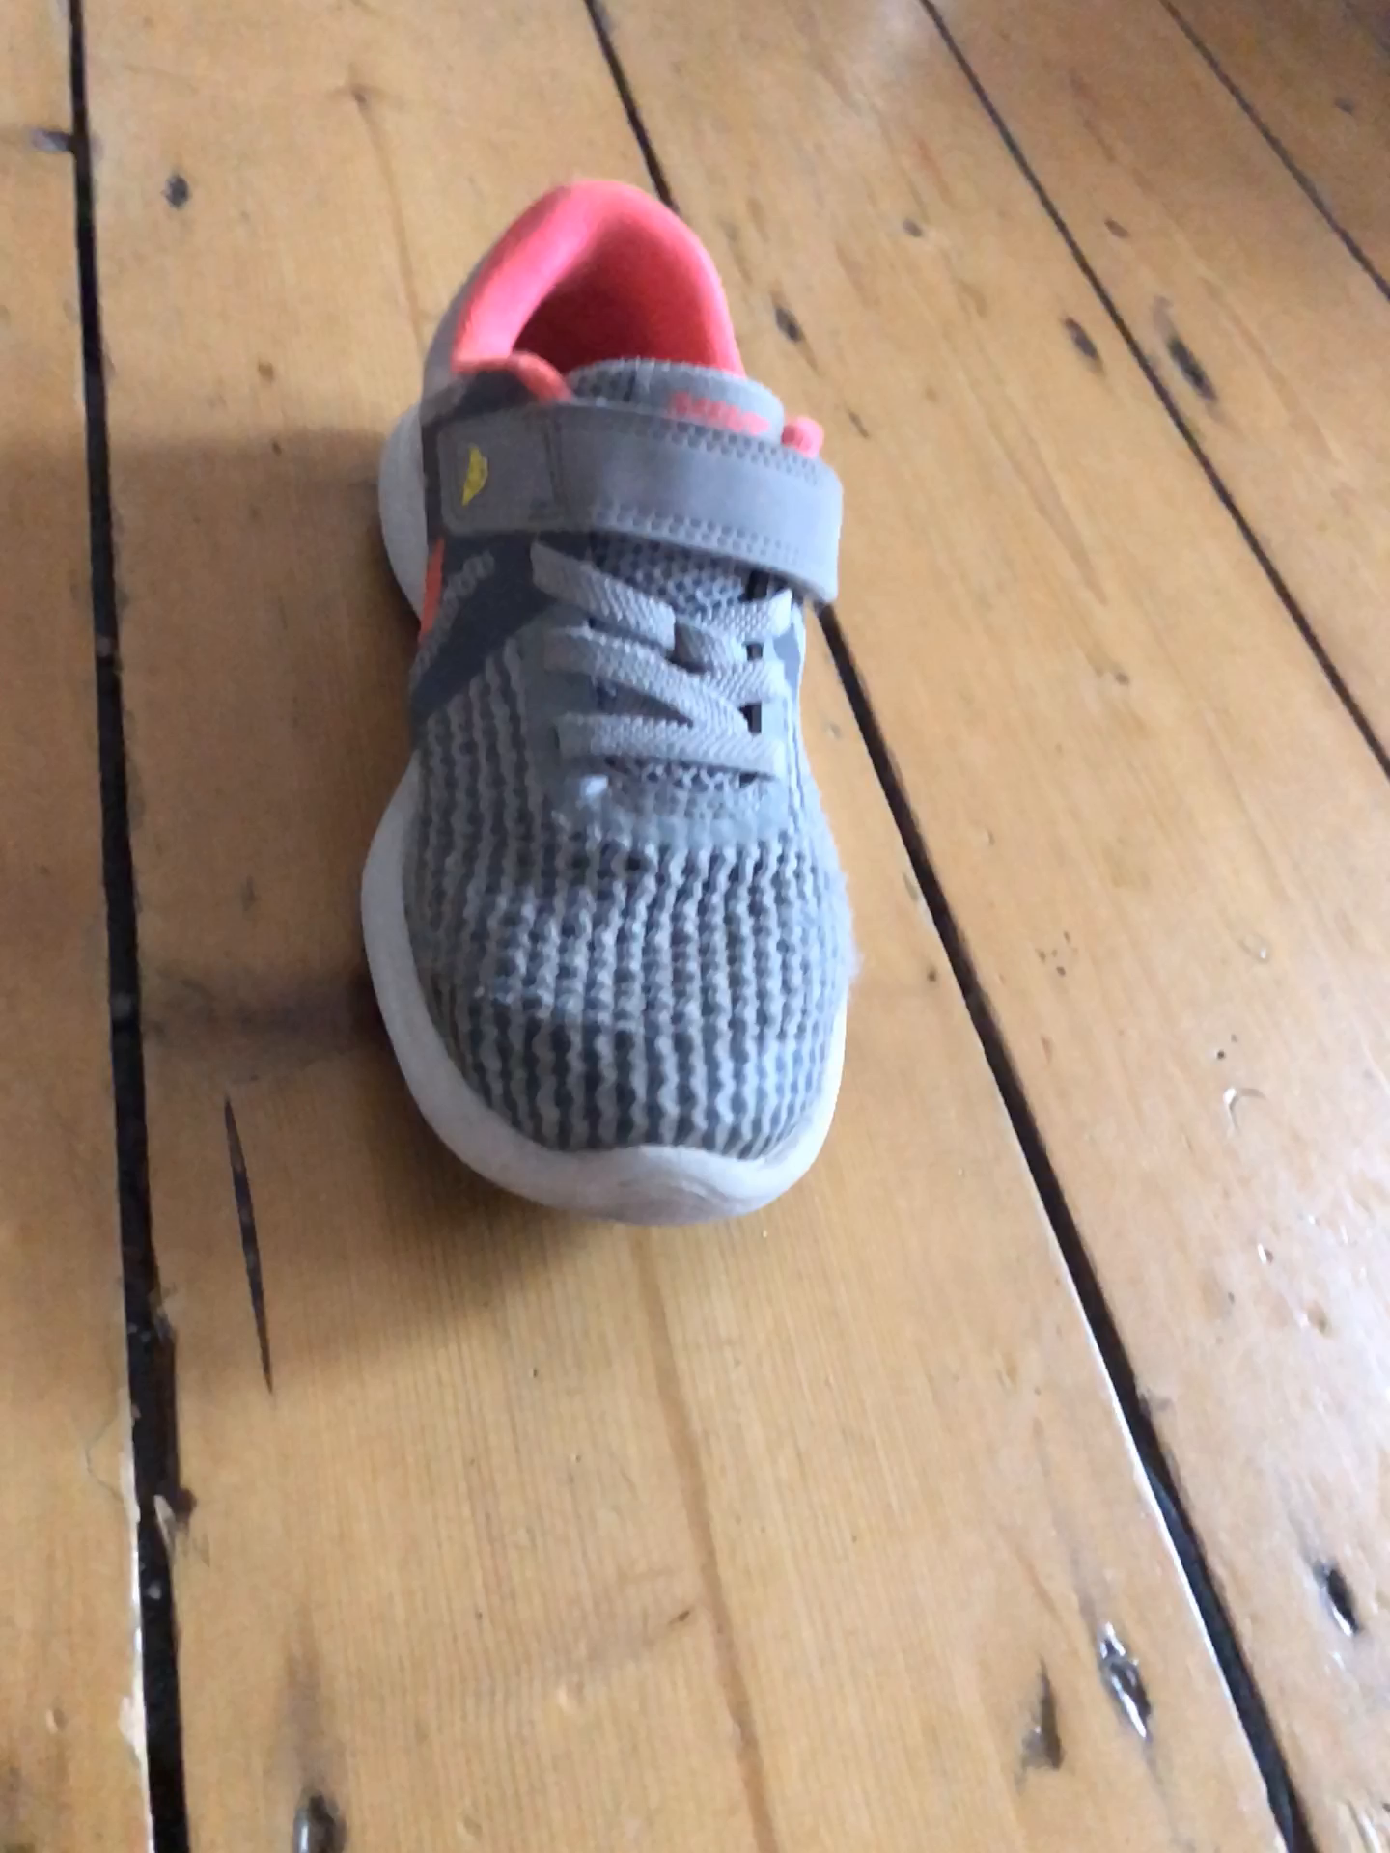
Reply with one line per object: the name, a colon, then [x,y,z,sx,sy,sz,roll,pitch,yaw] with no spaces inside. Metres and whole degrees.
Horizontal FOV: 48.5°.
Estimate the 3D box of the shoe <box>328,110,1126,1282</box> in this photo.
shoe: [-0.010,-0.043,0.253,0.080,0.070,0.181,3,54,-21]
